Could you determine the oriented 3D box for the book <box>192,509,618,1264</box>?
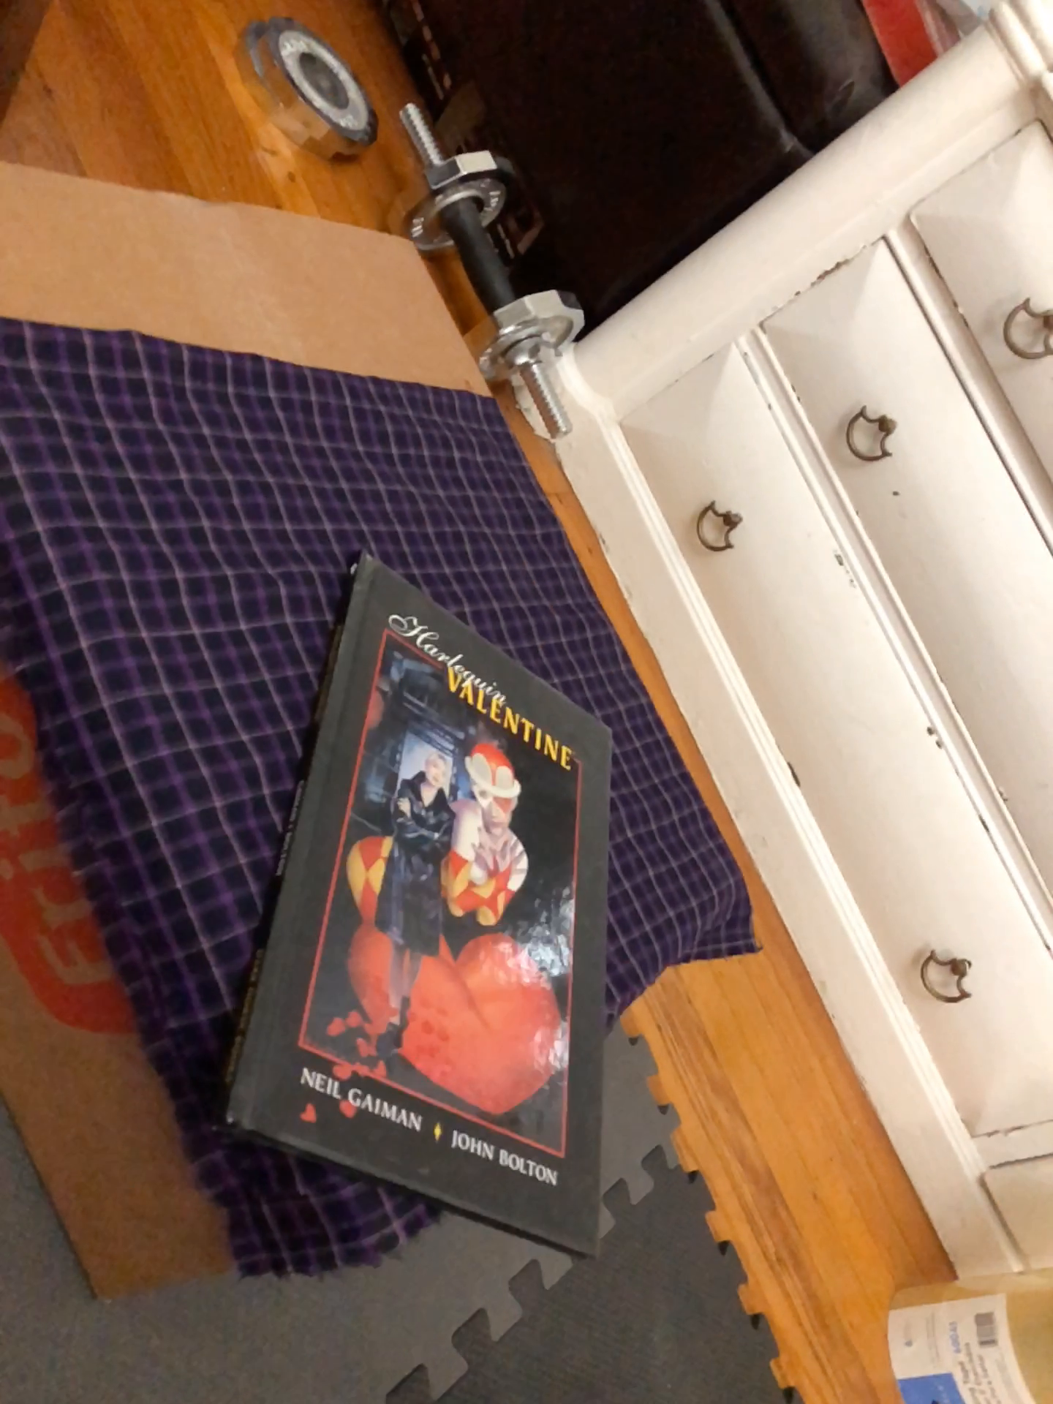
[{"bbox_3d":[-0.028,0.067,0.494,0.180,0.020,0.281,35,41,-32],"label":"book"}]
